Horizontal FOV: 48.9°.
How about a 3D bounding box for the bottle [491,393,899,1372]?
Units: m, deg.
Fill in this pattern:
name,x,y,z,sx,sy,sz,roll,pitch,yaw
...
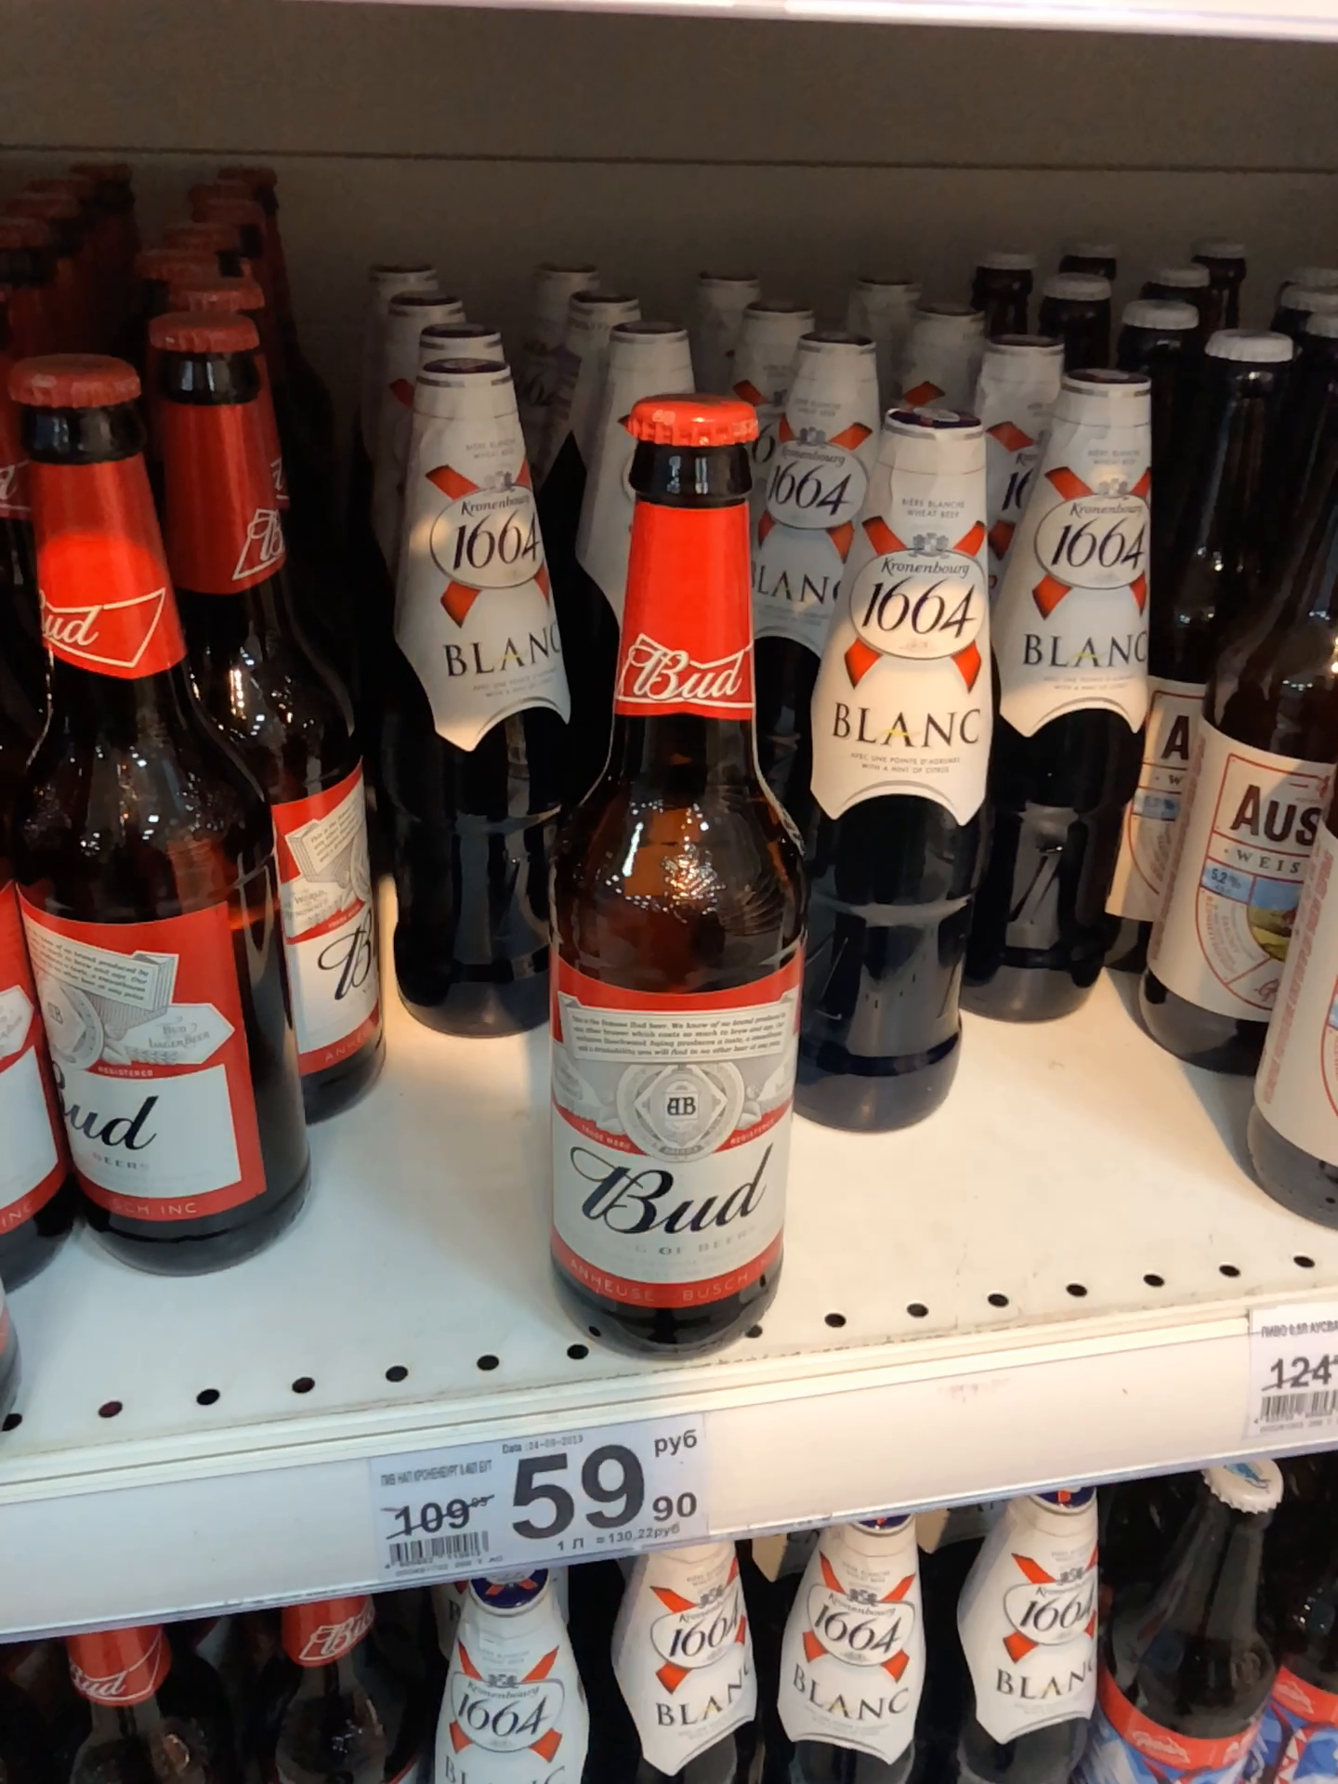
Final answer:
name,x,y,z,sx,sy,sz,roll,pitch,yaw
bottle,0.000,0.008,0.380,0.080,0.248,0.070,0,30,-3
